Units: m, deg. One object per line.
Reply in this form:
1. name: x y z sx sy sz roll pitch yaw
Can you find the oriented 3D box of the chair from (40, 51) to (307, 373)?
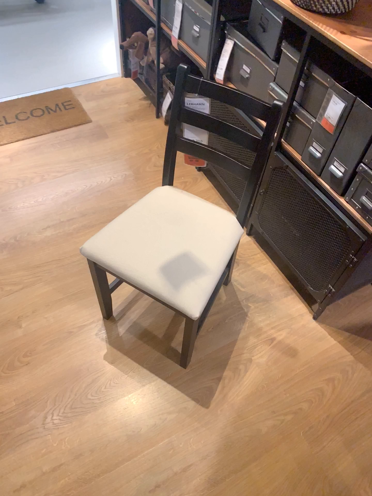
1. chair: -0.025 -0.057 1.148 0.400 0.768 0.471 28 56 17
